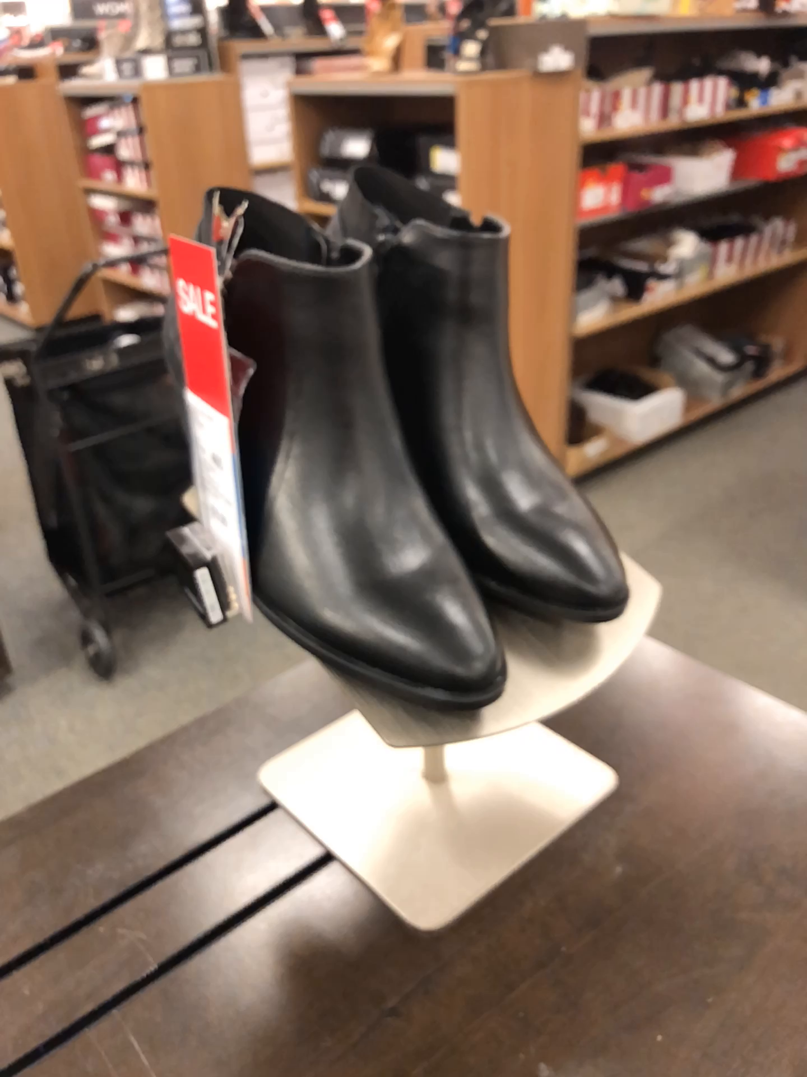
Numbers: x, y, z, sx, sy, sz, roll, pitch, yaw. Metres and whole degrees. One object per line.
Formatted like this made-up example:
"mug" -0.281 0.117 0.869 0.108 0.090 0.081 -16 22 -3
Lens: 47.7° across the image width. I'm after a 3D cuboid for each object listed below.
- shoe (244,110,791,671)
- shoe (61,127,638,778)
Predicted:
"shoe" 0.031 -0.084 0.443 0.105 0.131 0.244 -21 56 -30
"shoe" -0.043 -0.051 0.390 0.105 0.131 0.244 -21 56 -30
